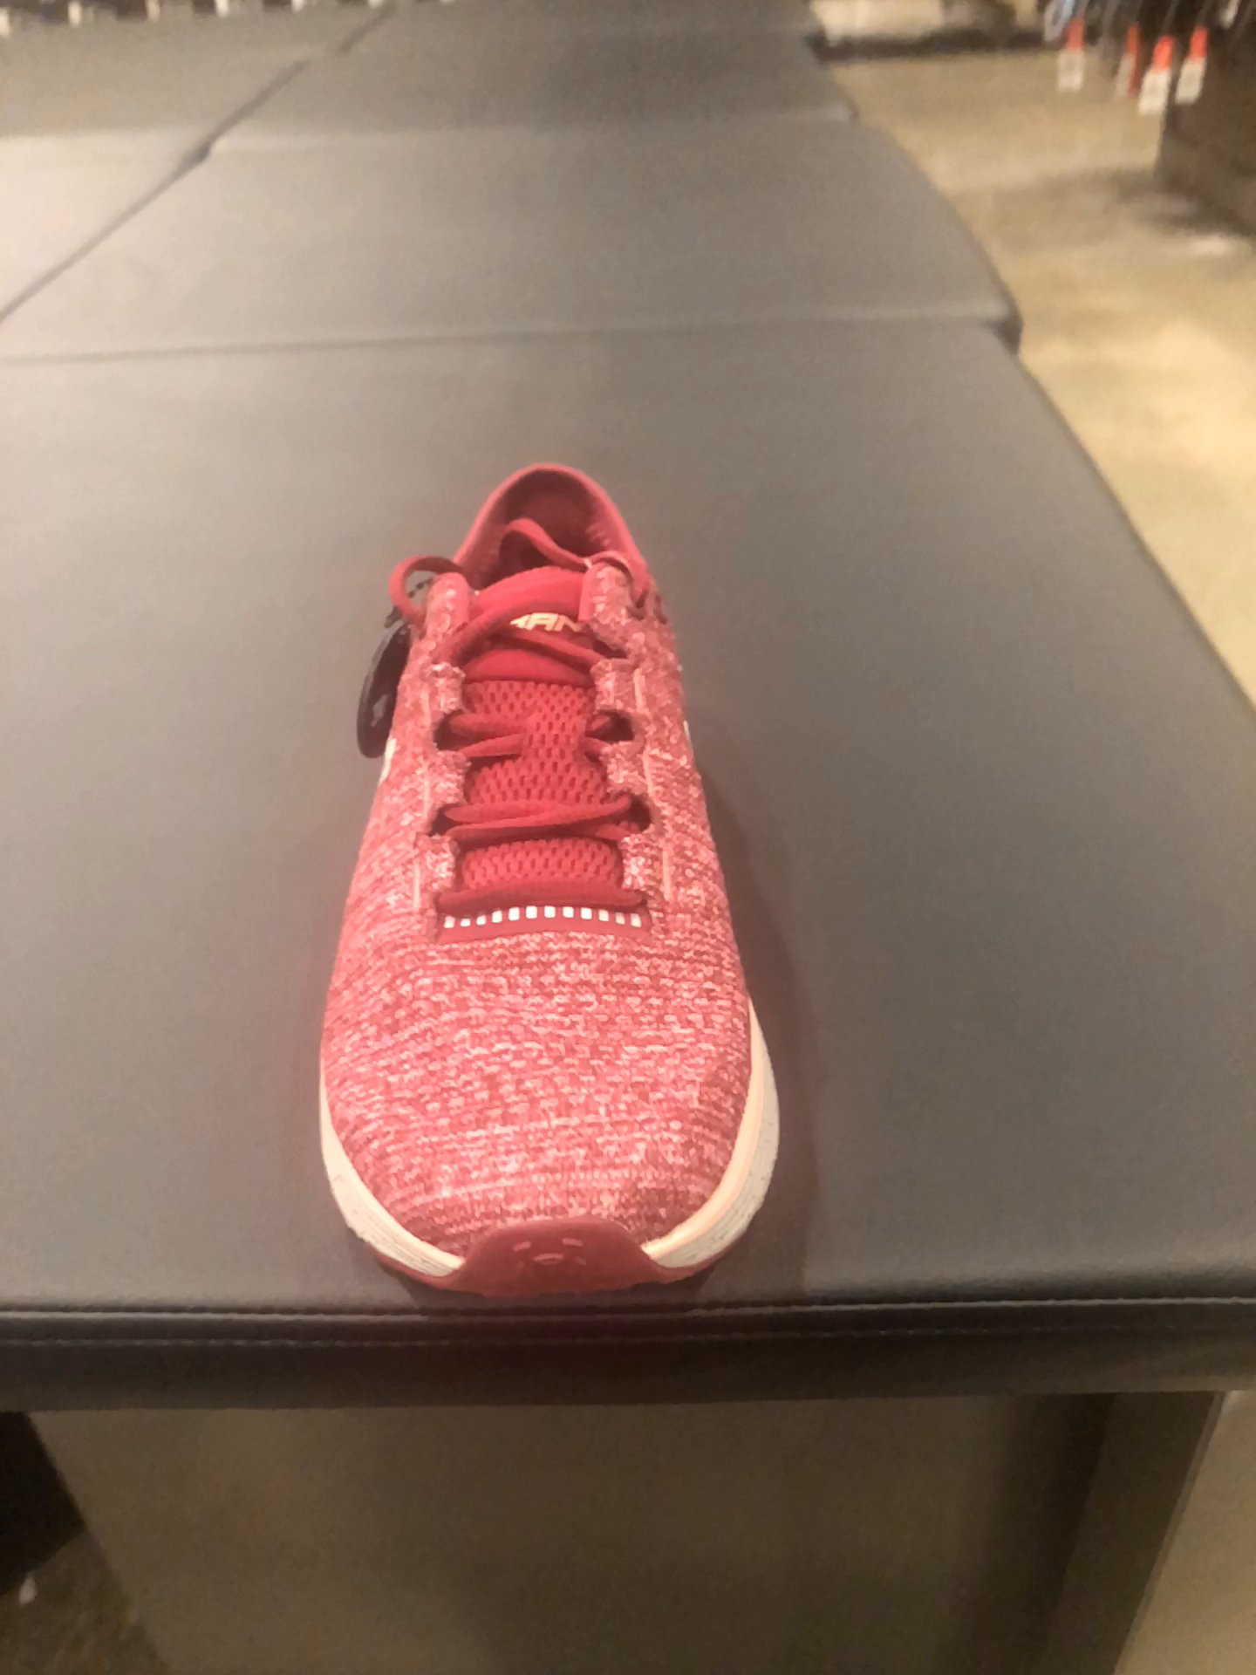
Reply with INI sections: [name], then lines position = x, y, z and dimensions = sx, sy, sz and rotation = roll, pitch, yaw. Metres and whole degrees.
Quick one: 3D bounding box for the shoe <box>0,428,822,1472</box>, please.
[shoe]
position = -0.044, -0.002, 0.338
dimensions = 0.121, 0.097, 0.254
rotation = -6, 36, -4
